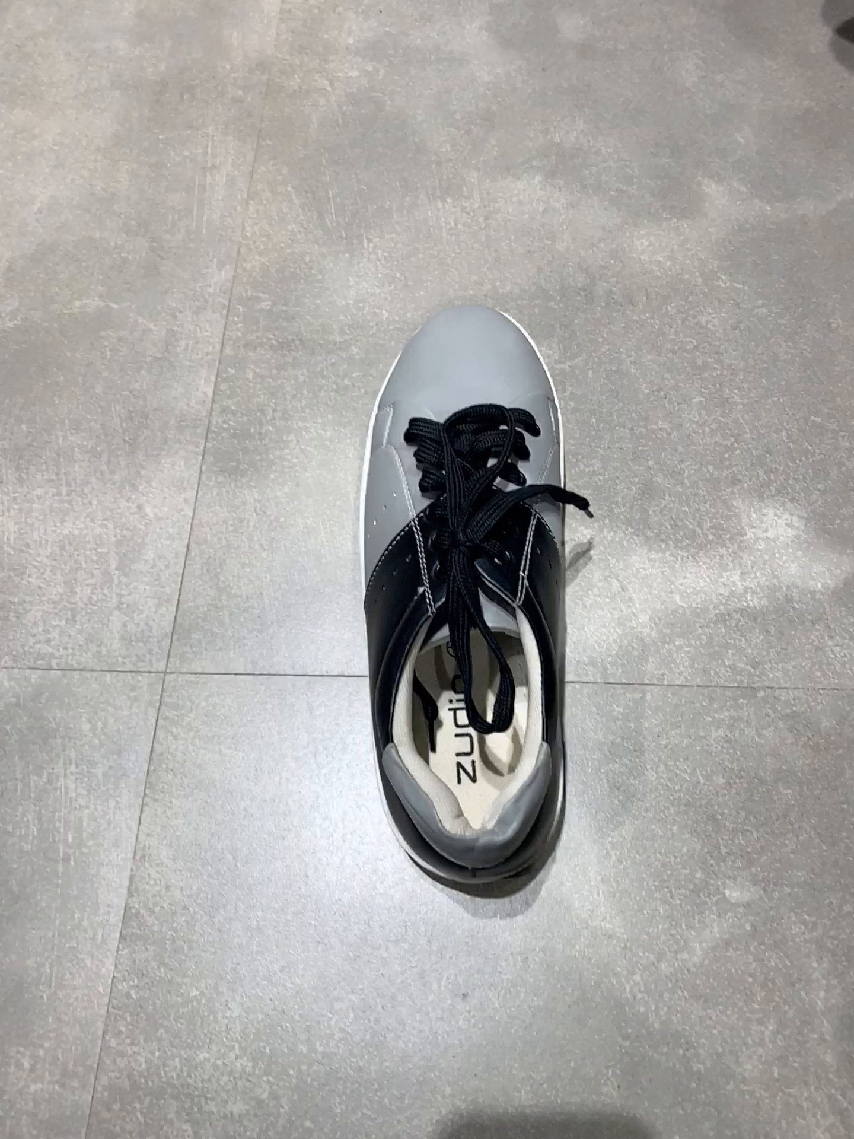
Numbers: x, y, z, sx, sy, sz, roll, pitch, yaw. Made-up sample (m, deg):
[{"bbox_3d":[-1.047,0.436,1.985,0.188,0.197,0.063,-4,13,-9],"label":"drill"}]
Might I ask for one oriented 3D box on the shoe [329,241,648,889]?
[{"bbox_3d":[0.024,-0.007,0.378,0.101,0.093,0.263,0,64,3],"label":"shoe"}]
